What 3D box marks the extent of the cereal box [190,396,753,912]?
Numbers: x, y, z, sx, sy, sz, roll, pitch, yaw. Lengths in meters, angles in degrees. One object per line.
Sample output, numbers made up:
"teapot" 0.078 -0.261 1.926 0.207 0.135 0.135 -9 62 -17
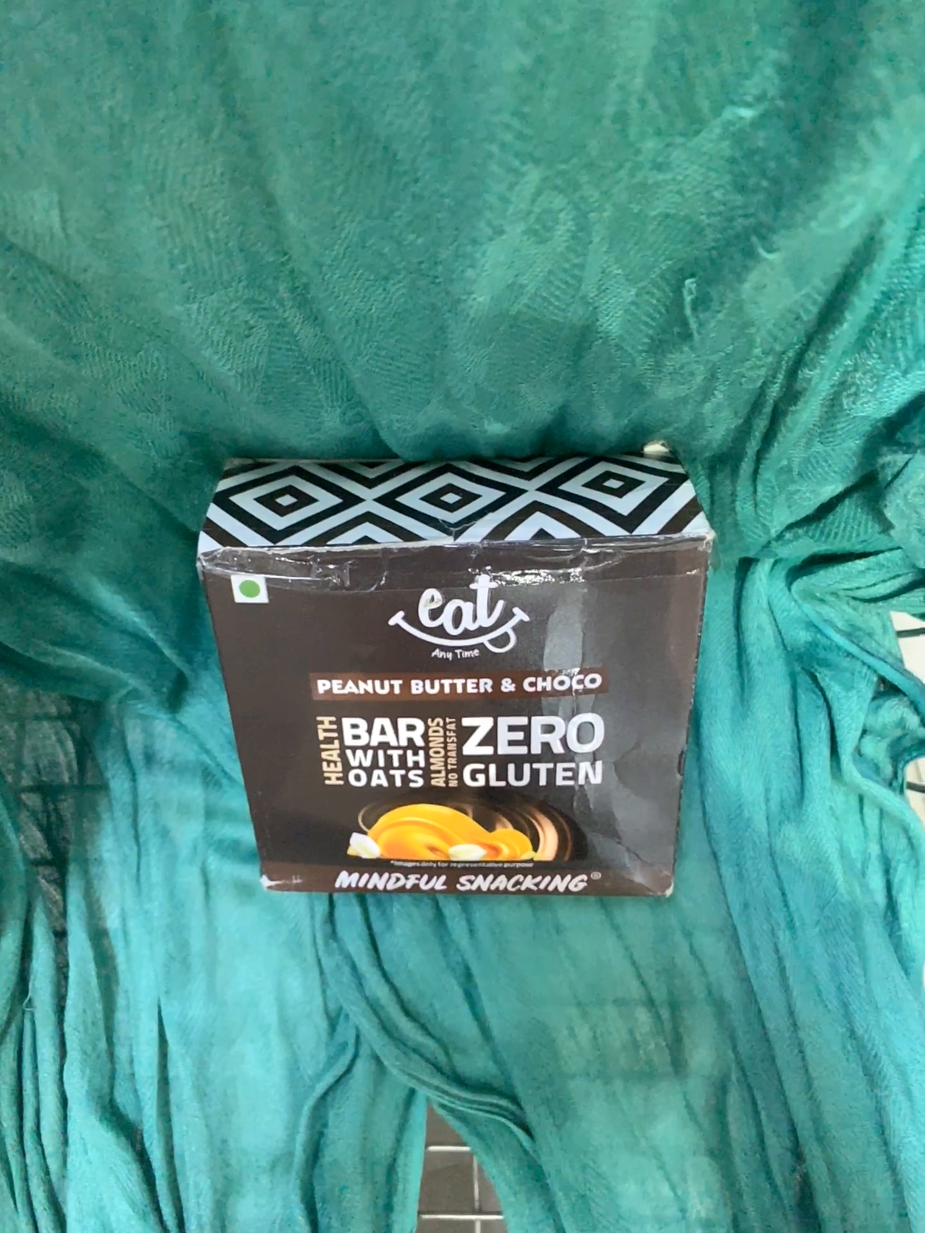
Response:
"cereal box" 0.004 0.011 0.312 0.140 0.090 0.140 0 119 2
